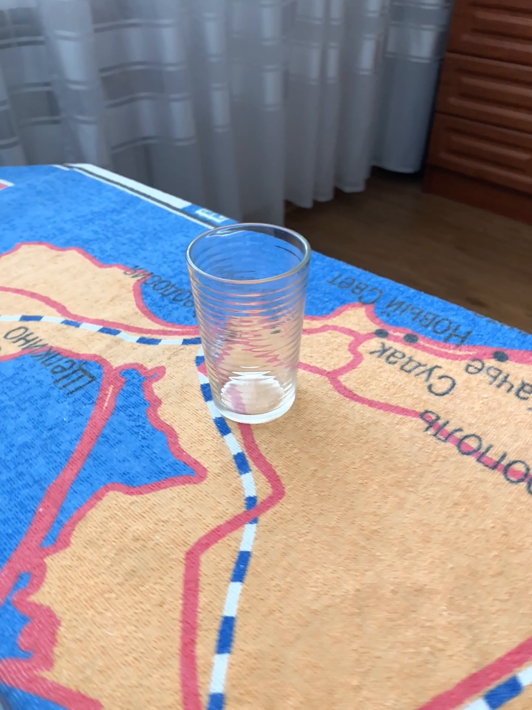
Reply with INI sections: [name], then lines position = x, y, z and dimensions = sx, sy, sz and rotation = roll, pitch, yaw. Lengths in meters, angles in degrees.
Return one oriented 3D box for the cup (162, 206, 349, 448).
[cup]
position = -0.005, -0.017, 0.337
dimensions = 0.068, 0.099, 0.070
rotation = 0, 38, 0
